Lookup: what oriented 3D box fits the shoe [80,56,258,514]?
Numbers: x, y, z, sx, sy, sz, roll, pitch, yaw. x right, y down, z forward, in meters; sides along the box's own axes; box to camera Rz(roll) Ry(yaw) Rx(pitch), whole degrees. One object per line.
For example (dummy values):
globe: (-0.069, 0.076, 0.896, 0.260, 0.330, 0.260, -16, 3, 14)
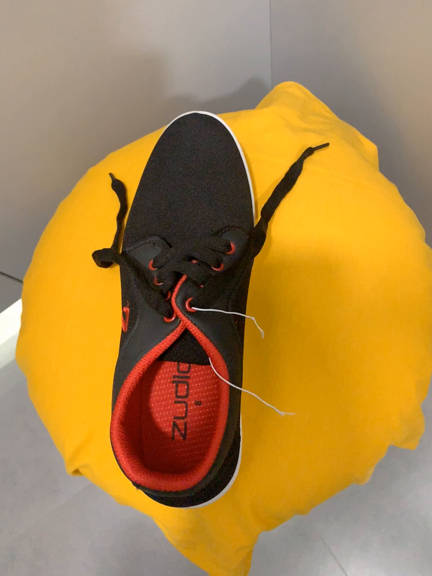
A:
shoe: (-0.019, -0.005, 0.310, 0.090, 0.100, 0.270, -1, 77, 8)
